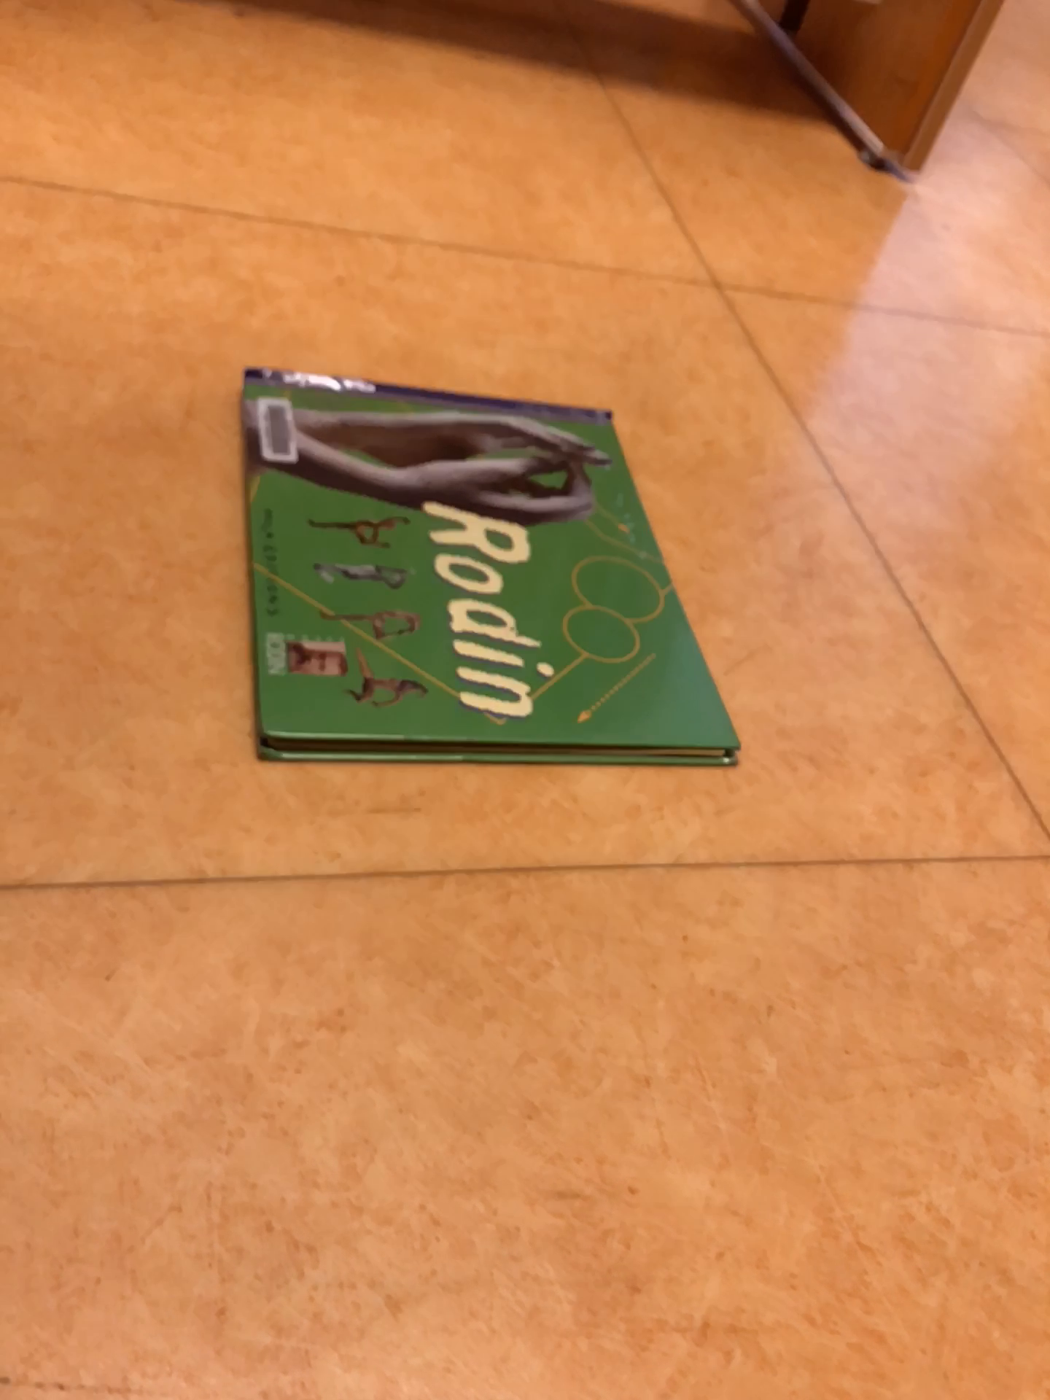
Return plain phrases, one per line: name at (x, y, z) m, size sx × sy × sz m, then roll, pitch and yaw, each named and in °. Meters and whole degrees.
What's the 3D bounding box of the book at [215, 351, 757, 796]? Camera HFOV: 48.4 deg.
book at (-0.031, -0.063, 0.519) m, size 0.201 × 0.030 × 0.244 m, roll 2°, pitch 47°, yaw -19°
